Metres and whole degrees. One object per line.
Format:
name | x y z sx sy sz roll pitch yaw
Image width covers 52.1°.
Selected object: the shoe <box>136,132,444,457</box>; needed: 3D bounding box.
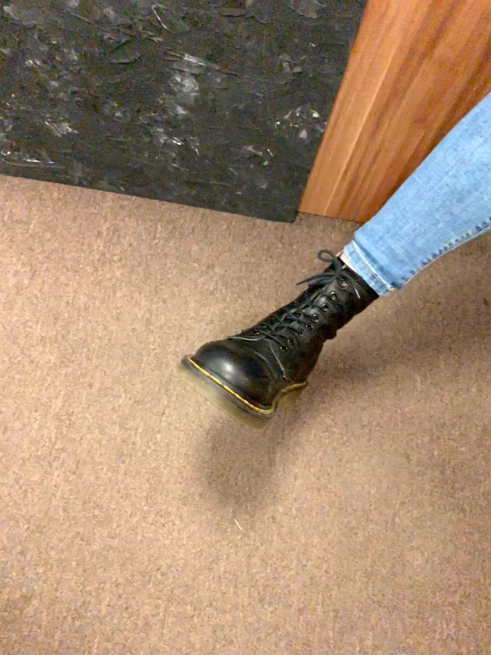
shoe | 0.064 -0.024 0.573 0.120 0.370 0.230 41 97 9
